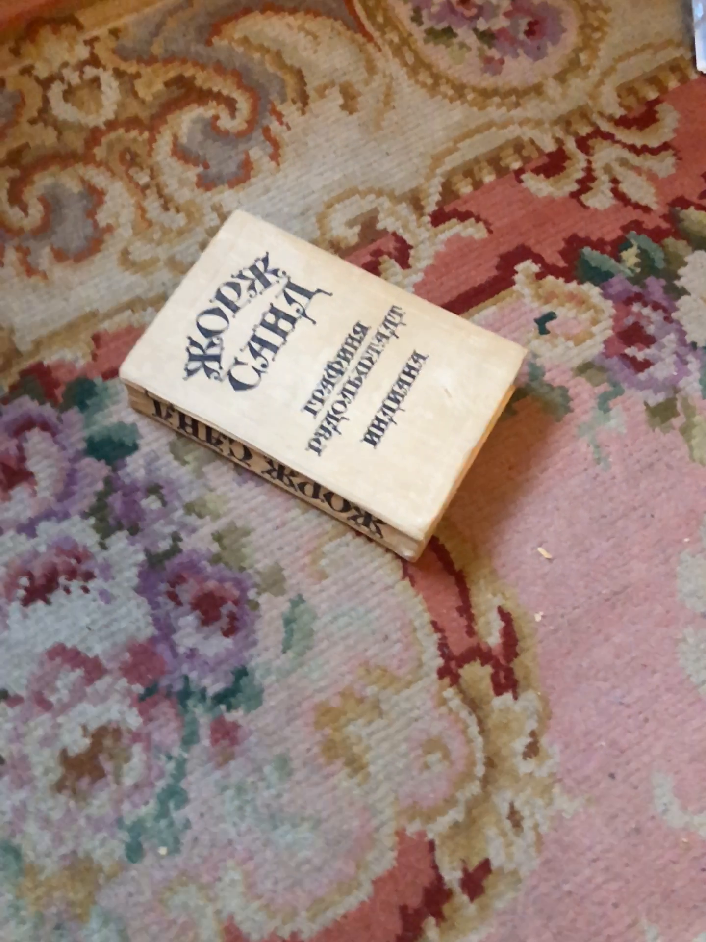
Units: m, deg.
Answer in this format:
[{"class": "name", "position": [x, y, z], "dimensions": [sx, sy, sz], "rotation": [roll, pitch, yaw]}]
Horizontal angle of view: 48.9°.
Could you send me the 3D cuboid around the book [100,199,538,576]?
[{"class": "book", "position": [-0.020, -0.057, 0.498], "dimensions": [0.220, 0.057, 0.150], "rotation": [28, 73, 10]}]
